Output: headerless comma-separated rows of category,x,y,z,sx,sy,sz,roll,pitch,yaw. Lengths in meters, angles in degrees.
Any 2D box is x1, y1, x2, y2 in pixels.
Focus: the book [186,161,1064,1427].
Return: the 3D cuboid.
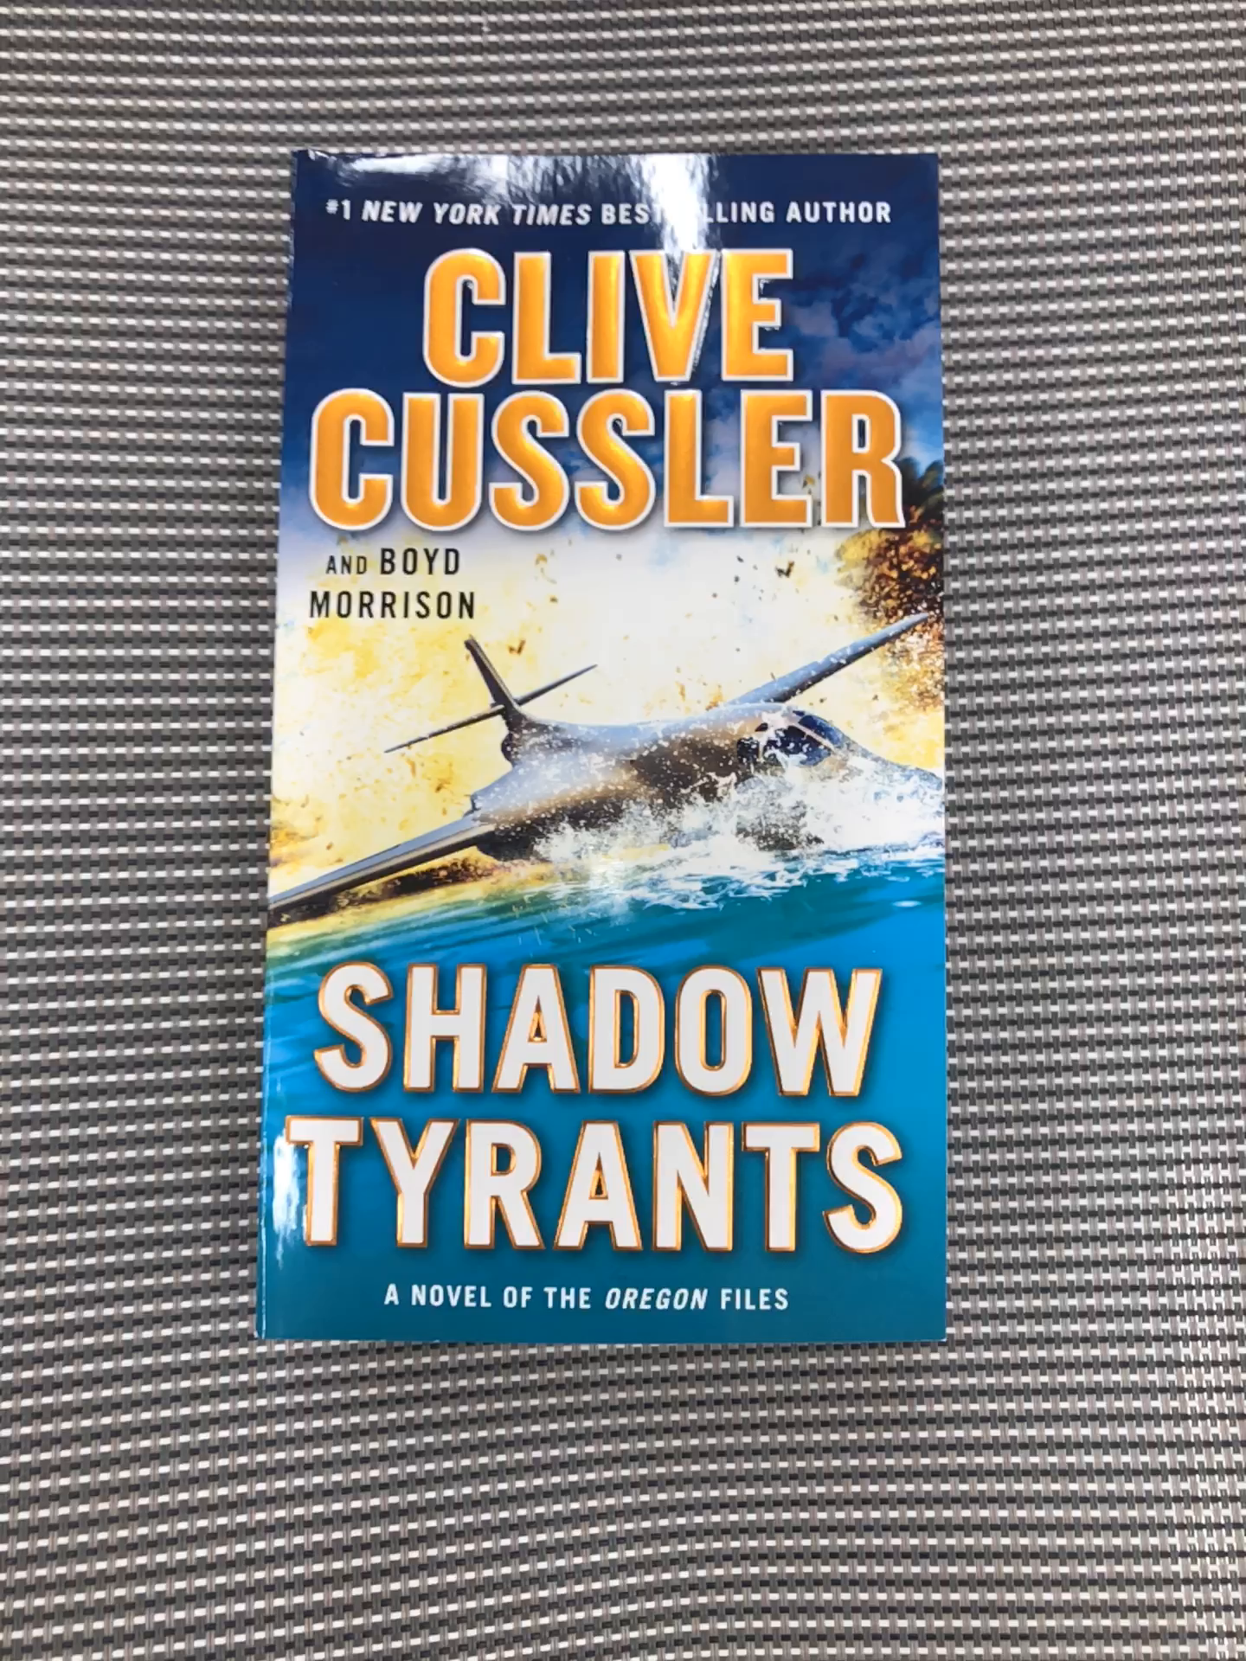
book,0.000,-0.006,0.227,0.120,0.060,0.180,0,85,-2
